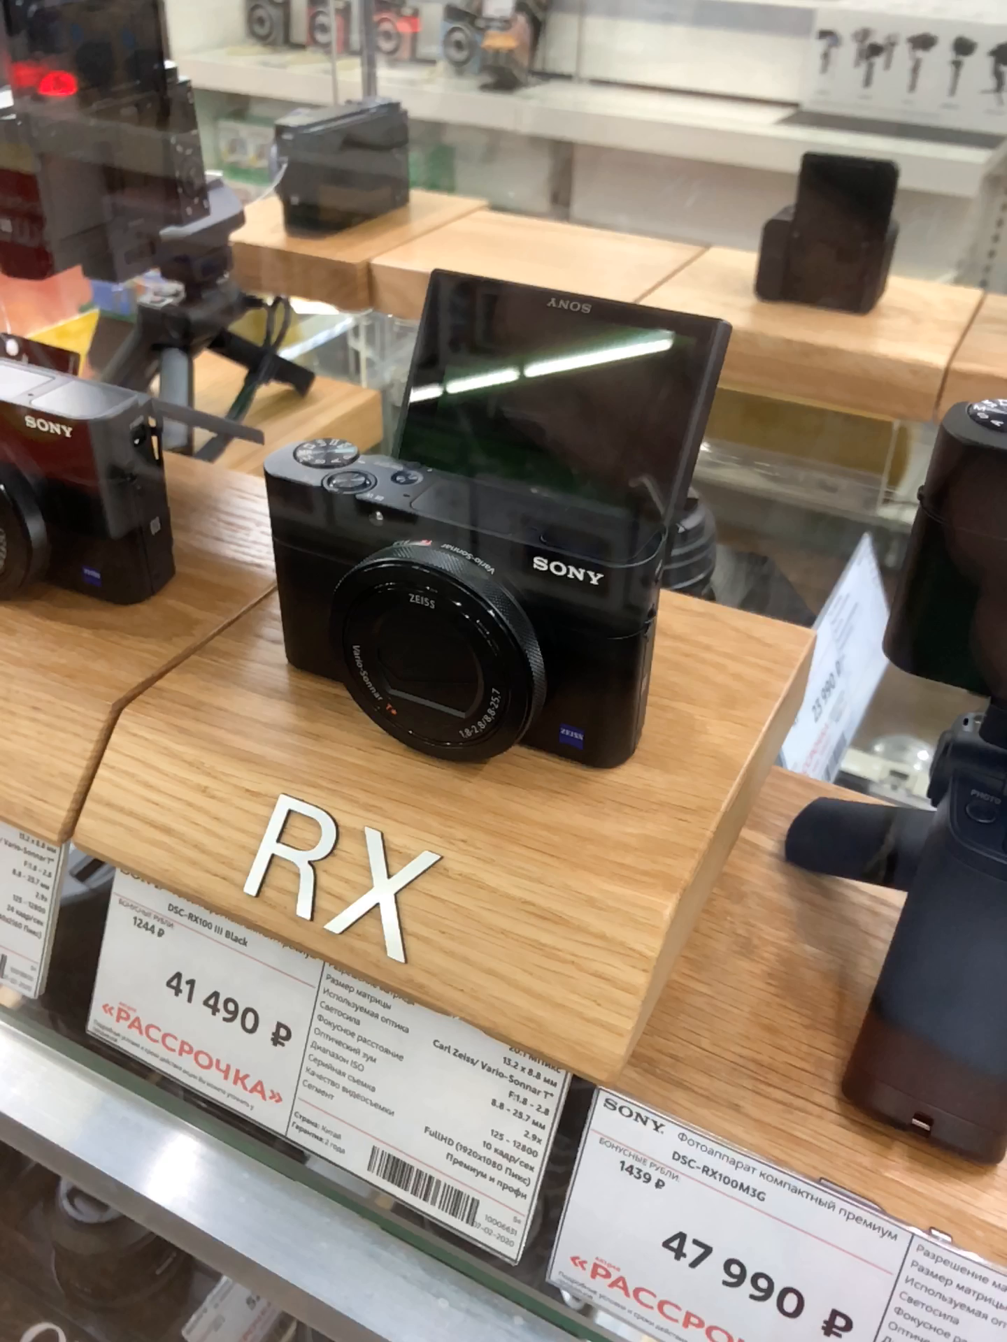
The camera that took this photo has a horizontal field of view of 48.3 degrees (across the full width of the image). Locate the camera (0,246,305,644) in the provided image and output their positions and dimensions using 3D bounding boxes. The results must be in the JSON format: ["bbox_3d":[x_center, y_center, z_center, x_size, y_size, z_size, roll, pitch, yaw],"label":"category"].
[{"bbox_3d":[-0.132,-0.074,0.337,0.101,0.067,0.097,18,39,21],"label":"camera"}]

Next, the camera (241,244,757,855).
[{"bbox_3d":[-0.003,-0.031,0.278,0.100,0.119,0.050,18,39,21],"label":"camera"}]
